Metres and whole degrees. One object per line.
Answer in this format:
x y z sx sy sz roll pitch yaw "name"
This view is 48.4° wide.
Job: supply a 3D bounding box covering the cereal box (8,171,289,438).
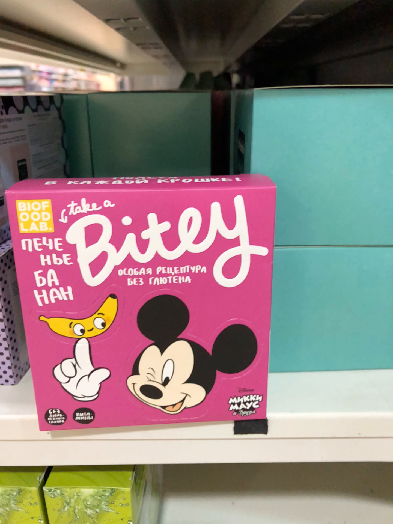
-0.024 0.025 0.262 0.140 0.149 0.040 -2 19 -5 "cereal box"
